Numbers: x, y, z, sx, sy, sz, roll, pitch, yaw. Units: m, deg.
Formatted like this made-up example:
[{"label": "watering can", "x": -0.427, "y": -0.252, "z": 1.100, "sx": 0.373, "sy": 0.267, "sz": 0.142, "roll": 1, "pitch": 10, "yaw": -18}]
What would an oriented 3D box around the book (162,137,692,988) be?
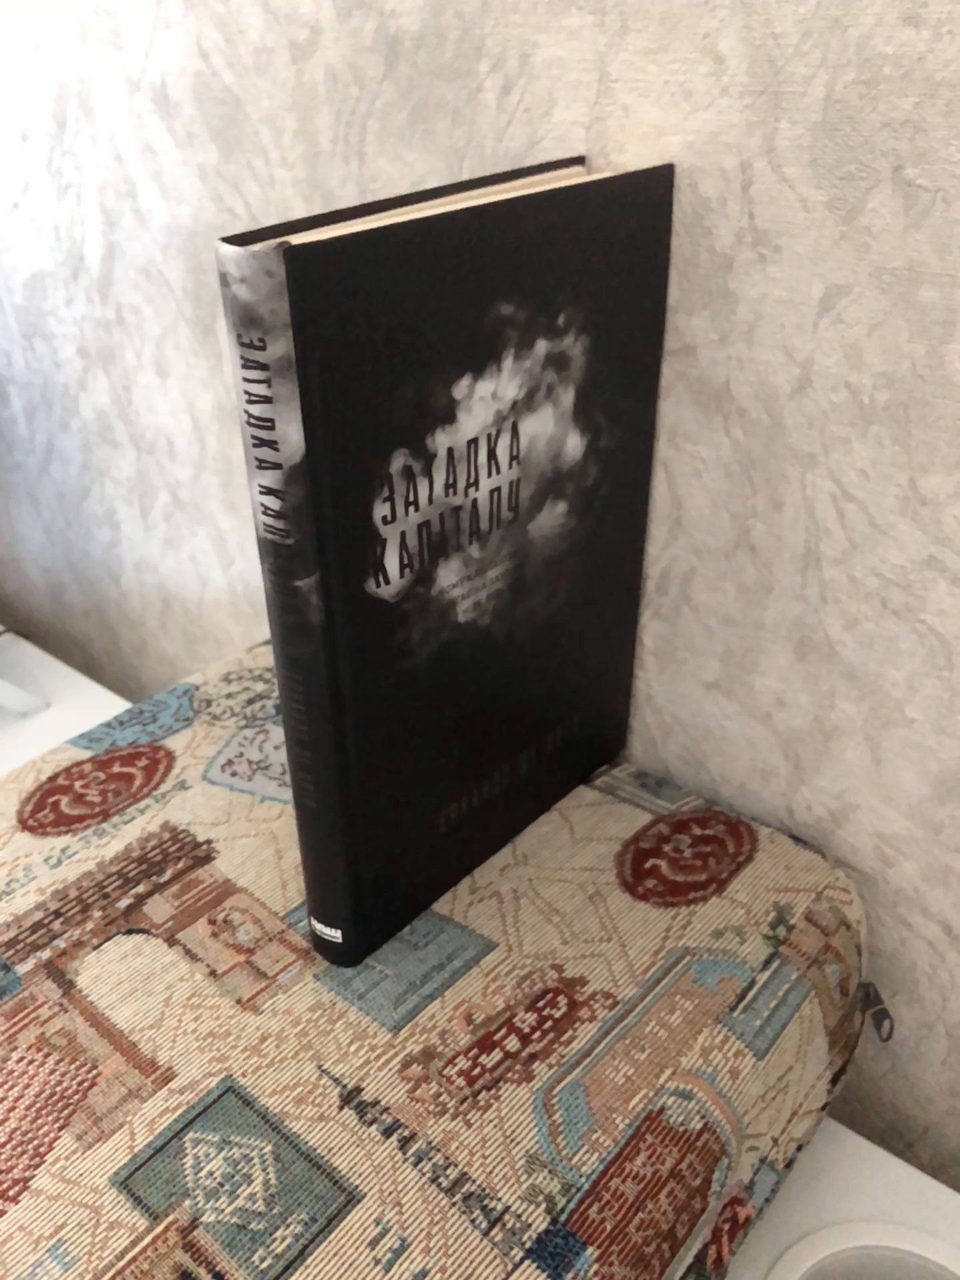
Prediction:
[{"label": "book", "x": 0.001, "y": -0.020, "z": 0.301, "sx": 0.035, "sy": 0.200, "sz": 0.138, "roll": 25, "pitch": 43, "yaw": 37}]
